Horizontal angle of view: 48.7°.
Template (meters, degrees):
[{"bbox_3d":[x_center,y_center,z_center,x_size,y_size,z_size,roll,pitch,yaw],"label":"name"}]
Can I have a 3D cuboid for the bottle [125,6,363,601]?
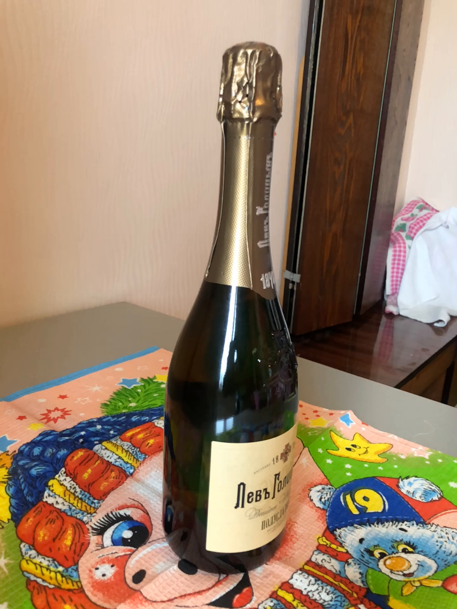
[{"bbox_3d":[0.002,0.006,0.313,0.093,0.309,0.090,3,16,-1],"label":"bottle"}]
